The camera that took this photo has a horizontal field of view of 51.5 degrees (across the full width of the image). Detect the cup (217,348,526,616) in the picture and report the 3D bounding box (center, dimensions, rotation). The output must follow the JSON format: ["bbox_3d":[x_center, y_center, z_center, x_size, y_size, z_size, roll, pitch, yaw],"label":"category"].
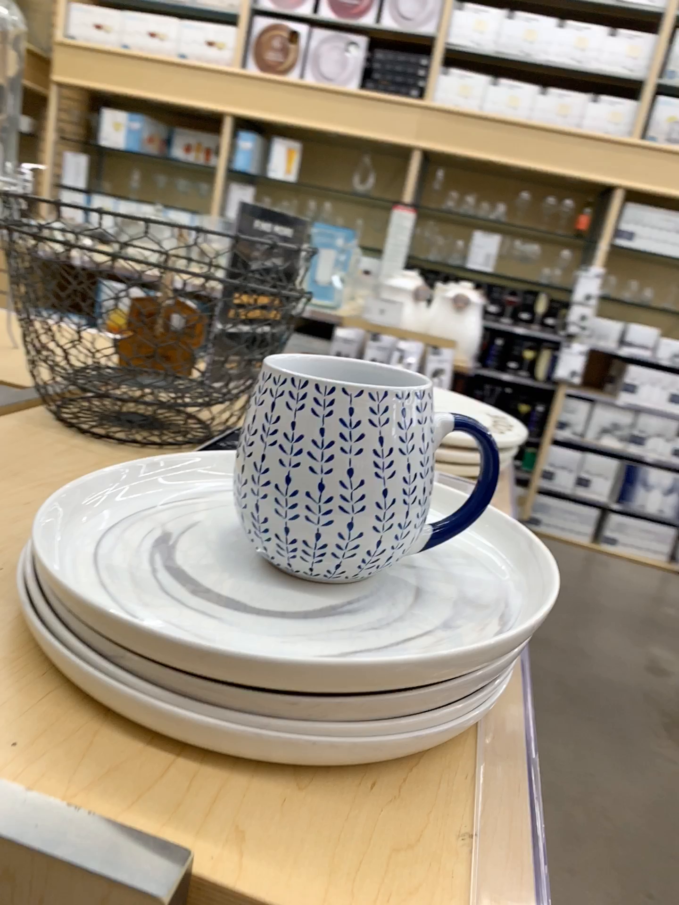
[{"bbox_3d":[0.009,0.011,0.371,0.128,0.097,0.104,7,17,-8],"label":"cup"}]
